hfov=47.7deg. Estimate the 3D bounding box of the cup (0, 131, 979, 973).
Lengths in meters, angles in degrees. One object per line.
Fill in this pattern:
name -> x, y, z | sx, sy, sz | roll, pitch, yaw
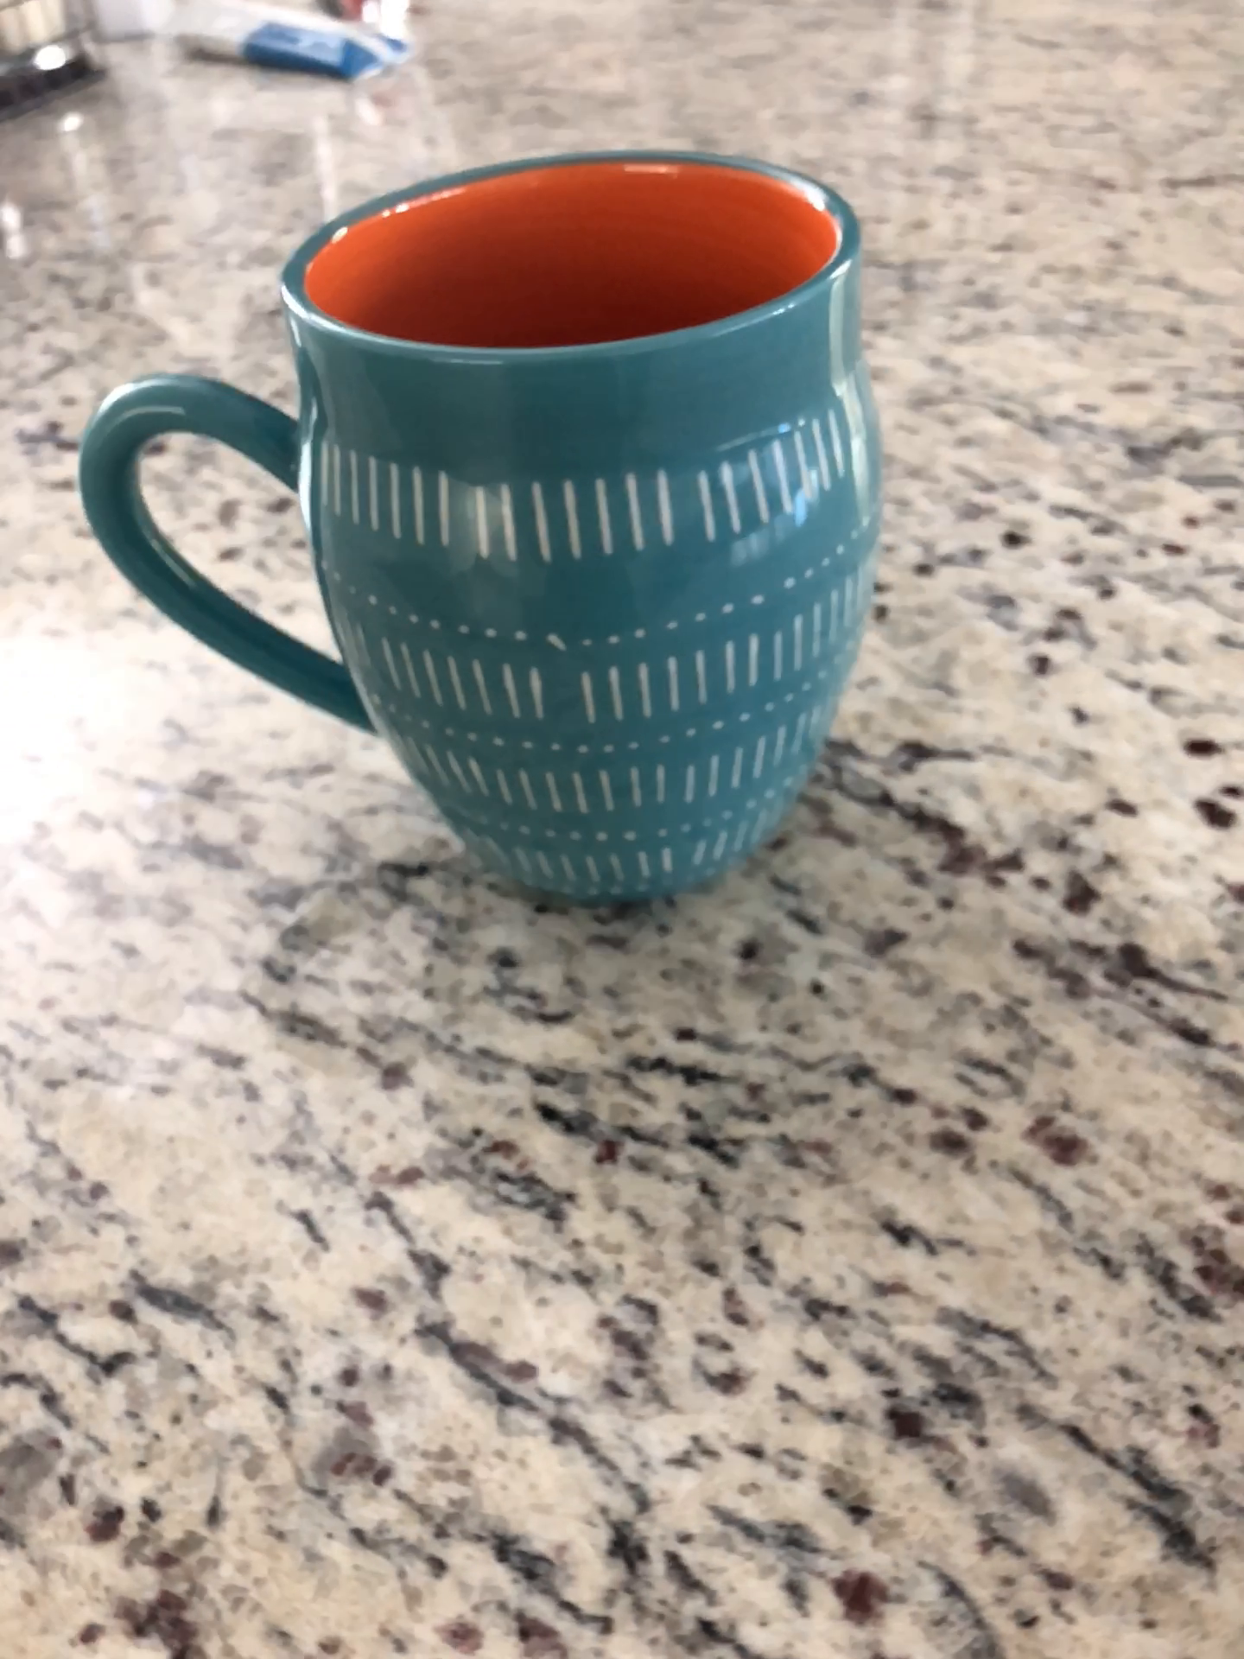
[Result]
cup -> -0.022, -0.061, 0.265 | 0.150, 0.099, 0.111 | 10, 42, 17
